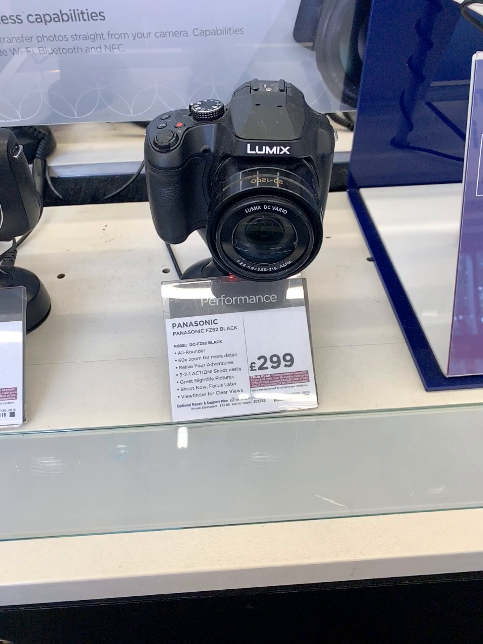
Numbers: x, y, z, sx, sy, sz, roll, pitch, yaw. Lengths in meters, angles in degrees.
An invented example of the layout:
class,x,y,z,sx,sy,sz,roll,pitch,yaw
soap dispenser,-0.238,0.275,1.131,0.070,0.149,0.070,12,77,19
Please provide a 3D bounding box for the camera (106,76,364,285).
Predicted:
class,x,y,z,sx,sy,sz,roll,pitch,yaw
camera,-0.003,-0.095,0.322,0.130,0.079,0.121,-1,45,1
